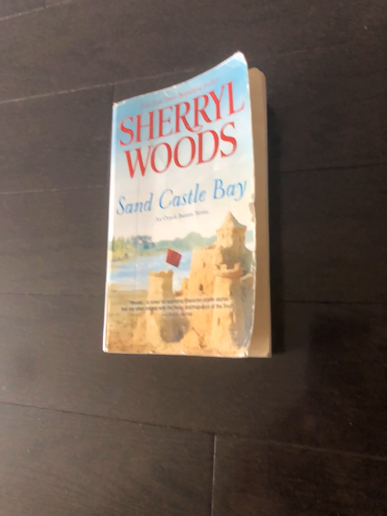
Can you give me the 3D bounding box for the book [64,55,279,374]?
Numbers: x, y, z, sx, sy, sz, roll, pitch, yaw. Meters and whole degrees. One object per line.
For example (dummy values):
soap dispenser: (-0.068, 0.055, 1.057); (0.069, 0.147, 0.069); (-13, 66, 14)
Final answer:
book: (-0.015, -0.020, 0.255); (0.119, 0.037, 0.161); (-3, 83, 24)
